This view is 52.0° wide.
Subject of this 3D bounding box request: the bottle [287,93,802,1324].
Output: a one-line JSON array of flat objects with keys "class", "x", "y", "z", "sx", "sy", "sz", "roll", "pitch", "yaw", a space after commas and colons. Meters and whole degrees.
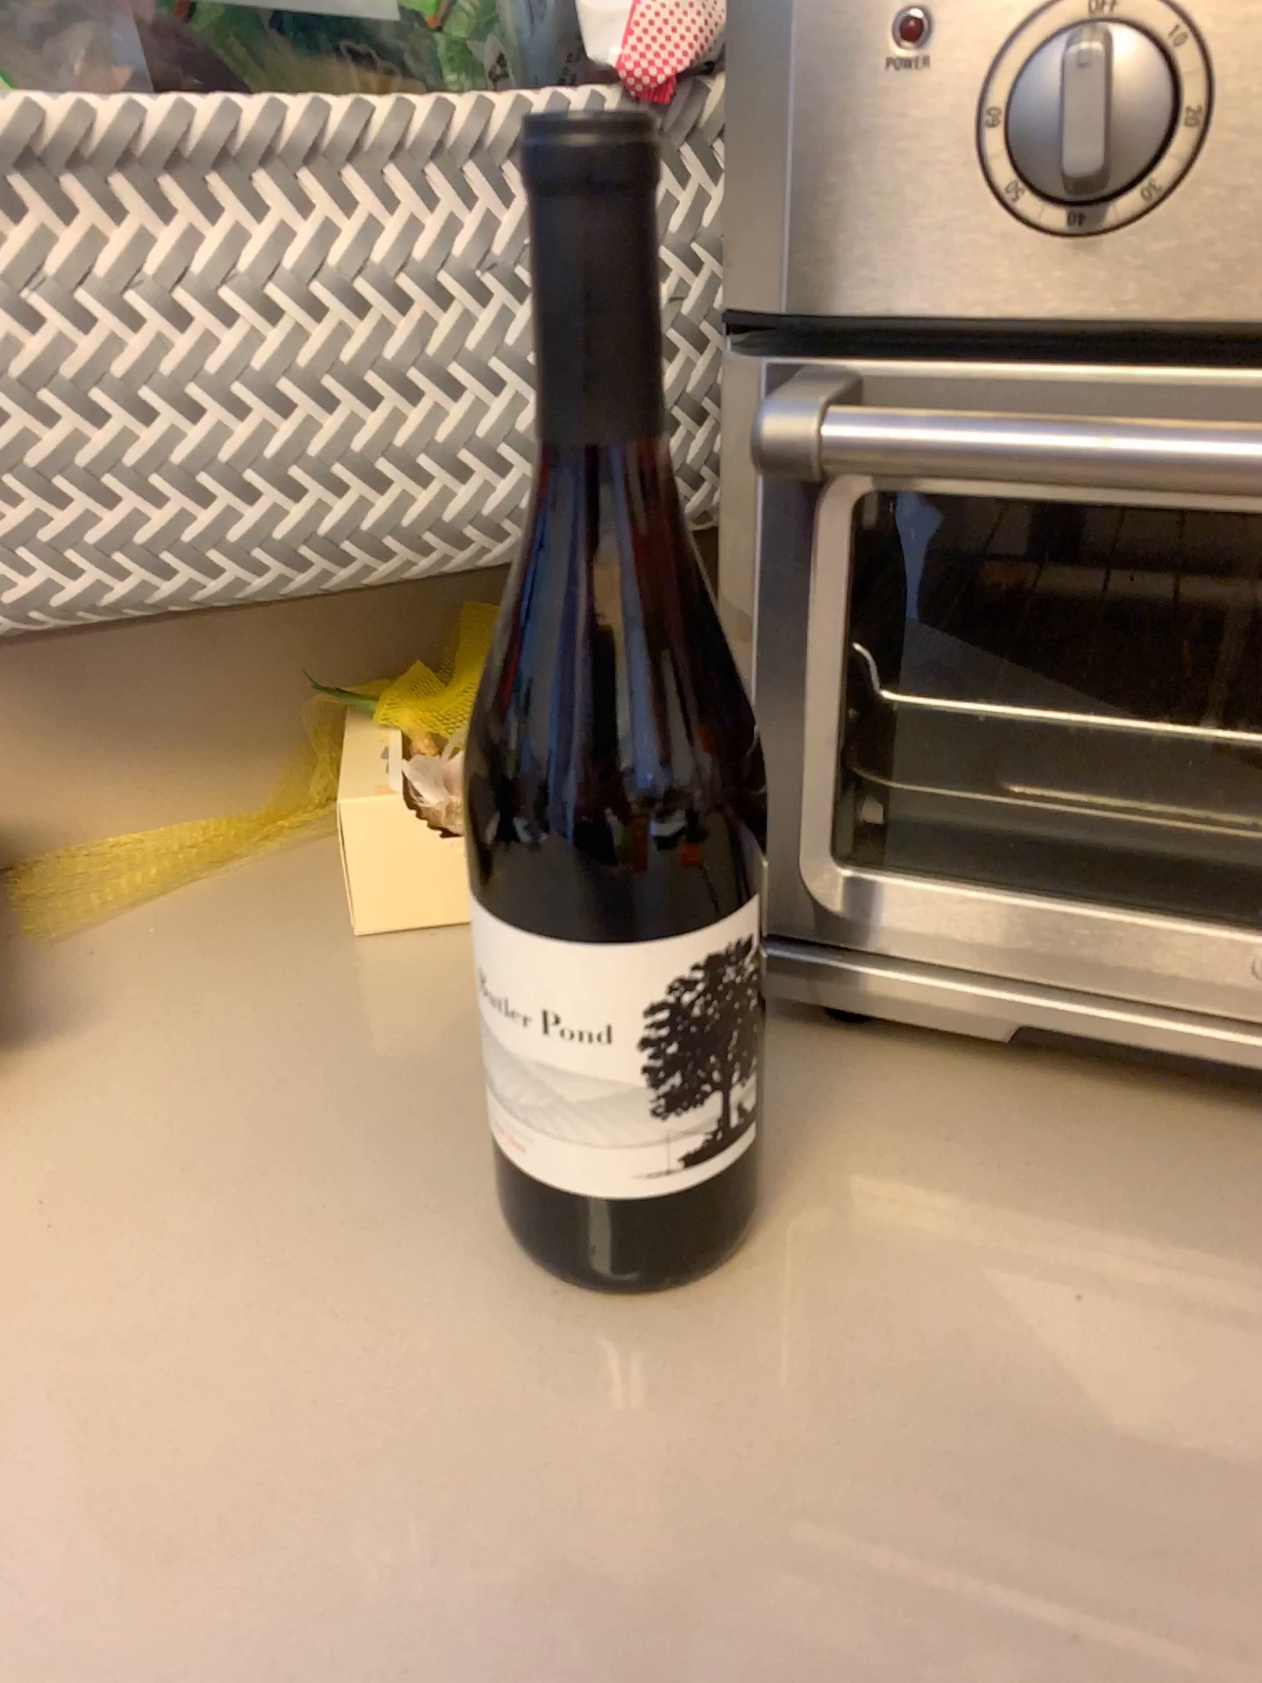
[{"class": "bottle", "x": -0.008, "y": -0.017, "z": 0.303, "sx": 0.080, "sy": 0.268, "sz": 0.070, "roll": 5, "pitch": 28, "yaw": 12}]
